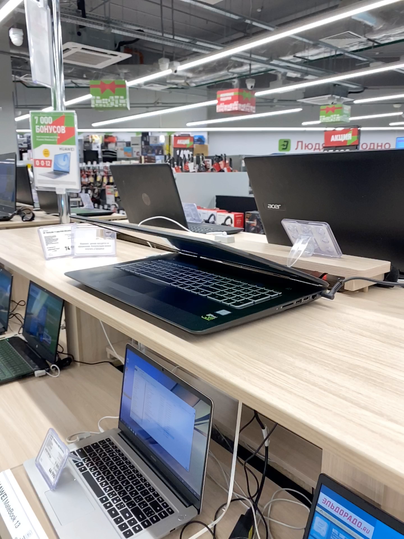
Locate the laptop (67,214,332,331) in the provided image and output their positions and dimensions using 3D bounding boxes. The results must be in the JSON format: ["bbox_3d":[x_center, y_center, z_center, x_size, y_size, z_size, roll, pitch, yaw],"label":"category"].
[{"bbox_3d":[-0.030,-0.028,0.733,0.268,0.095,0.415,-12,16,-37],"label":"laptop"}]
